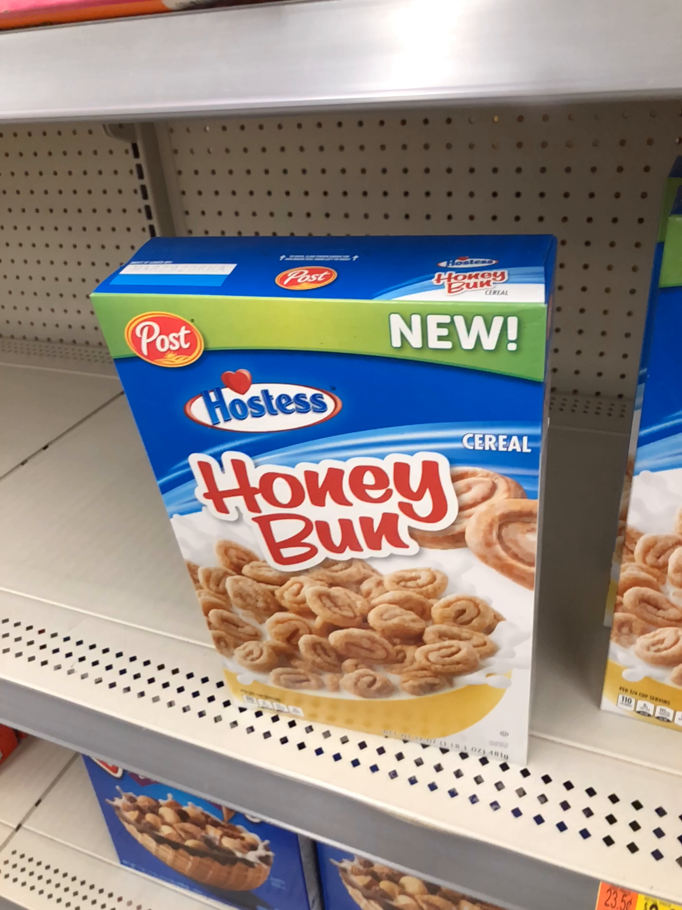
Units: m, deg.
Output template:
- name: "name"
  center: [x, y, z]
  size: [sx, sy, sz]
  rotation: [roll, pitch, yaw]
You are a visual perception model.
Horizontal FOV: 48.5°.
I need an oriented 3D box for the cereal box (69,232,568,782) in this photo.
- name: "cereal box"
  center: [0.007, 0.042, 0.406]
  size: [0.200, 0.309, 0.060]
  rotation: [5, 39, 18]
